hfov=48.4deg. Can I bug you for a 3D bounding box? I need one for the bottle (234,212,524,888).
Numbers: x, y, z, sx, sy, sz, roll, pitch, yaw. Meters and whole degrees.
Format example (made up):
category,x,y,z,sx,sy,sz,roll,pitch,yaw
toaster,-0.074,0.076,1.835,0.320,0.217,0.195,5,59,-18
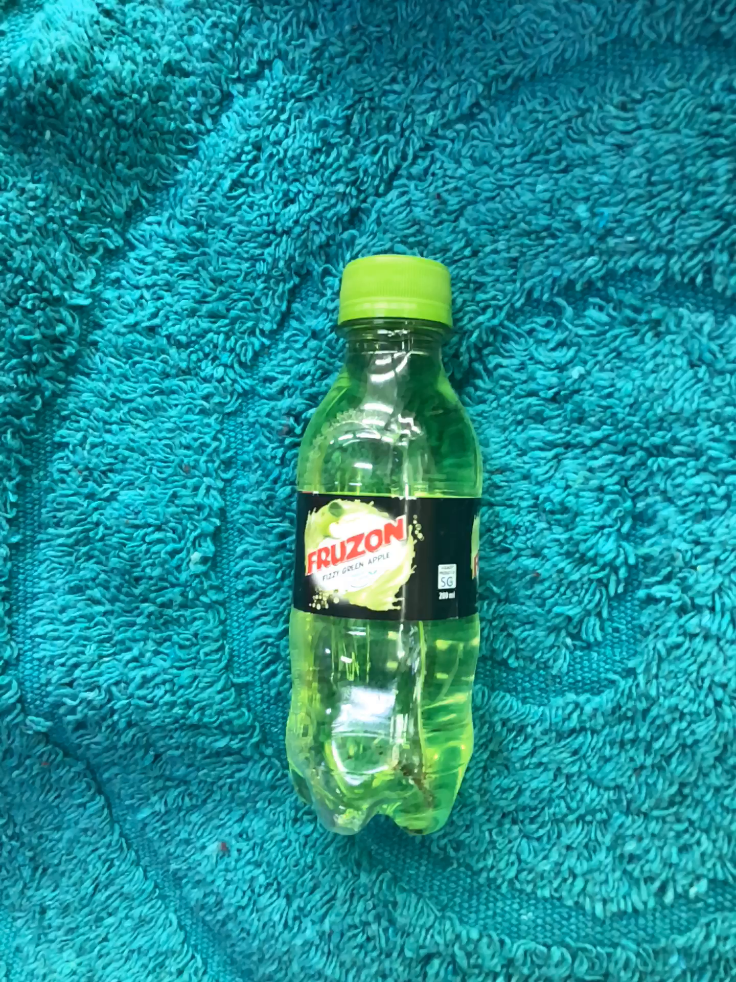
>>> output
category,x,y,z,sx,sy,sz,roll,pitch,yaw
bottle,0.004,0.013,0.228,0.060,0.050,0.160,4,94,25
